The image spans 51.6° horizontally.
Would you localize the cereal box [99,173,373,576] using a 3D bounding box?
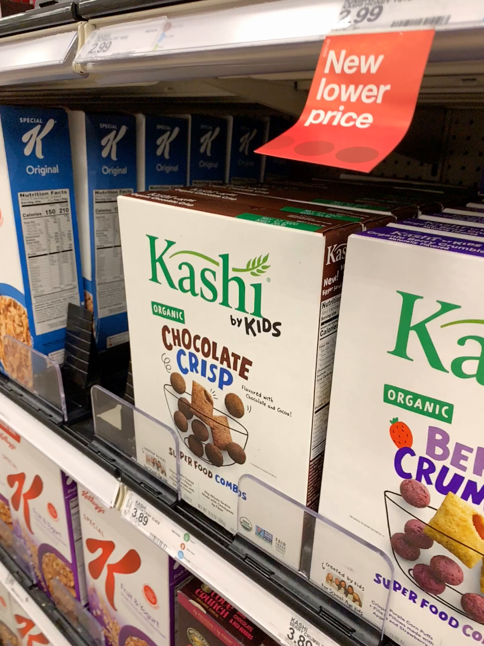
[{"bbox_3d":[-0.017,0.027,0.393,0.201,0.259,0.060,19,28,37],"label":"cereal box"}]
